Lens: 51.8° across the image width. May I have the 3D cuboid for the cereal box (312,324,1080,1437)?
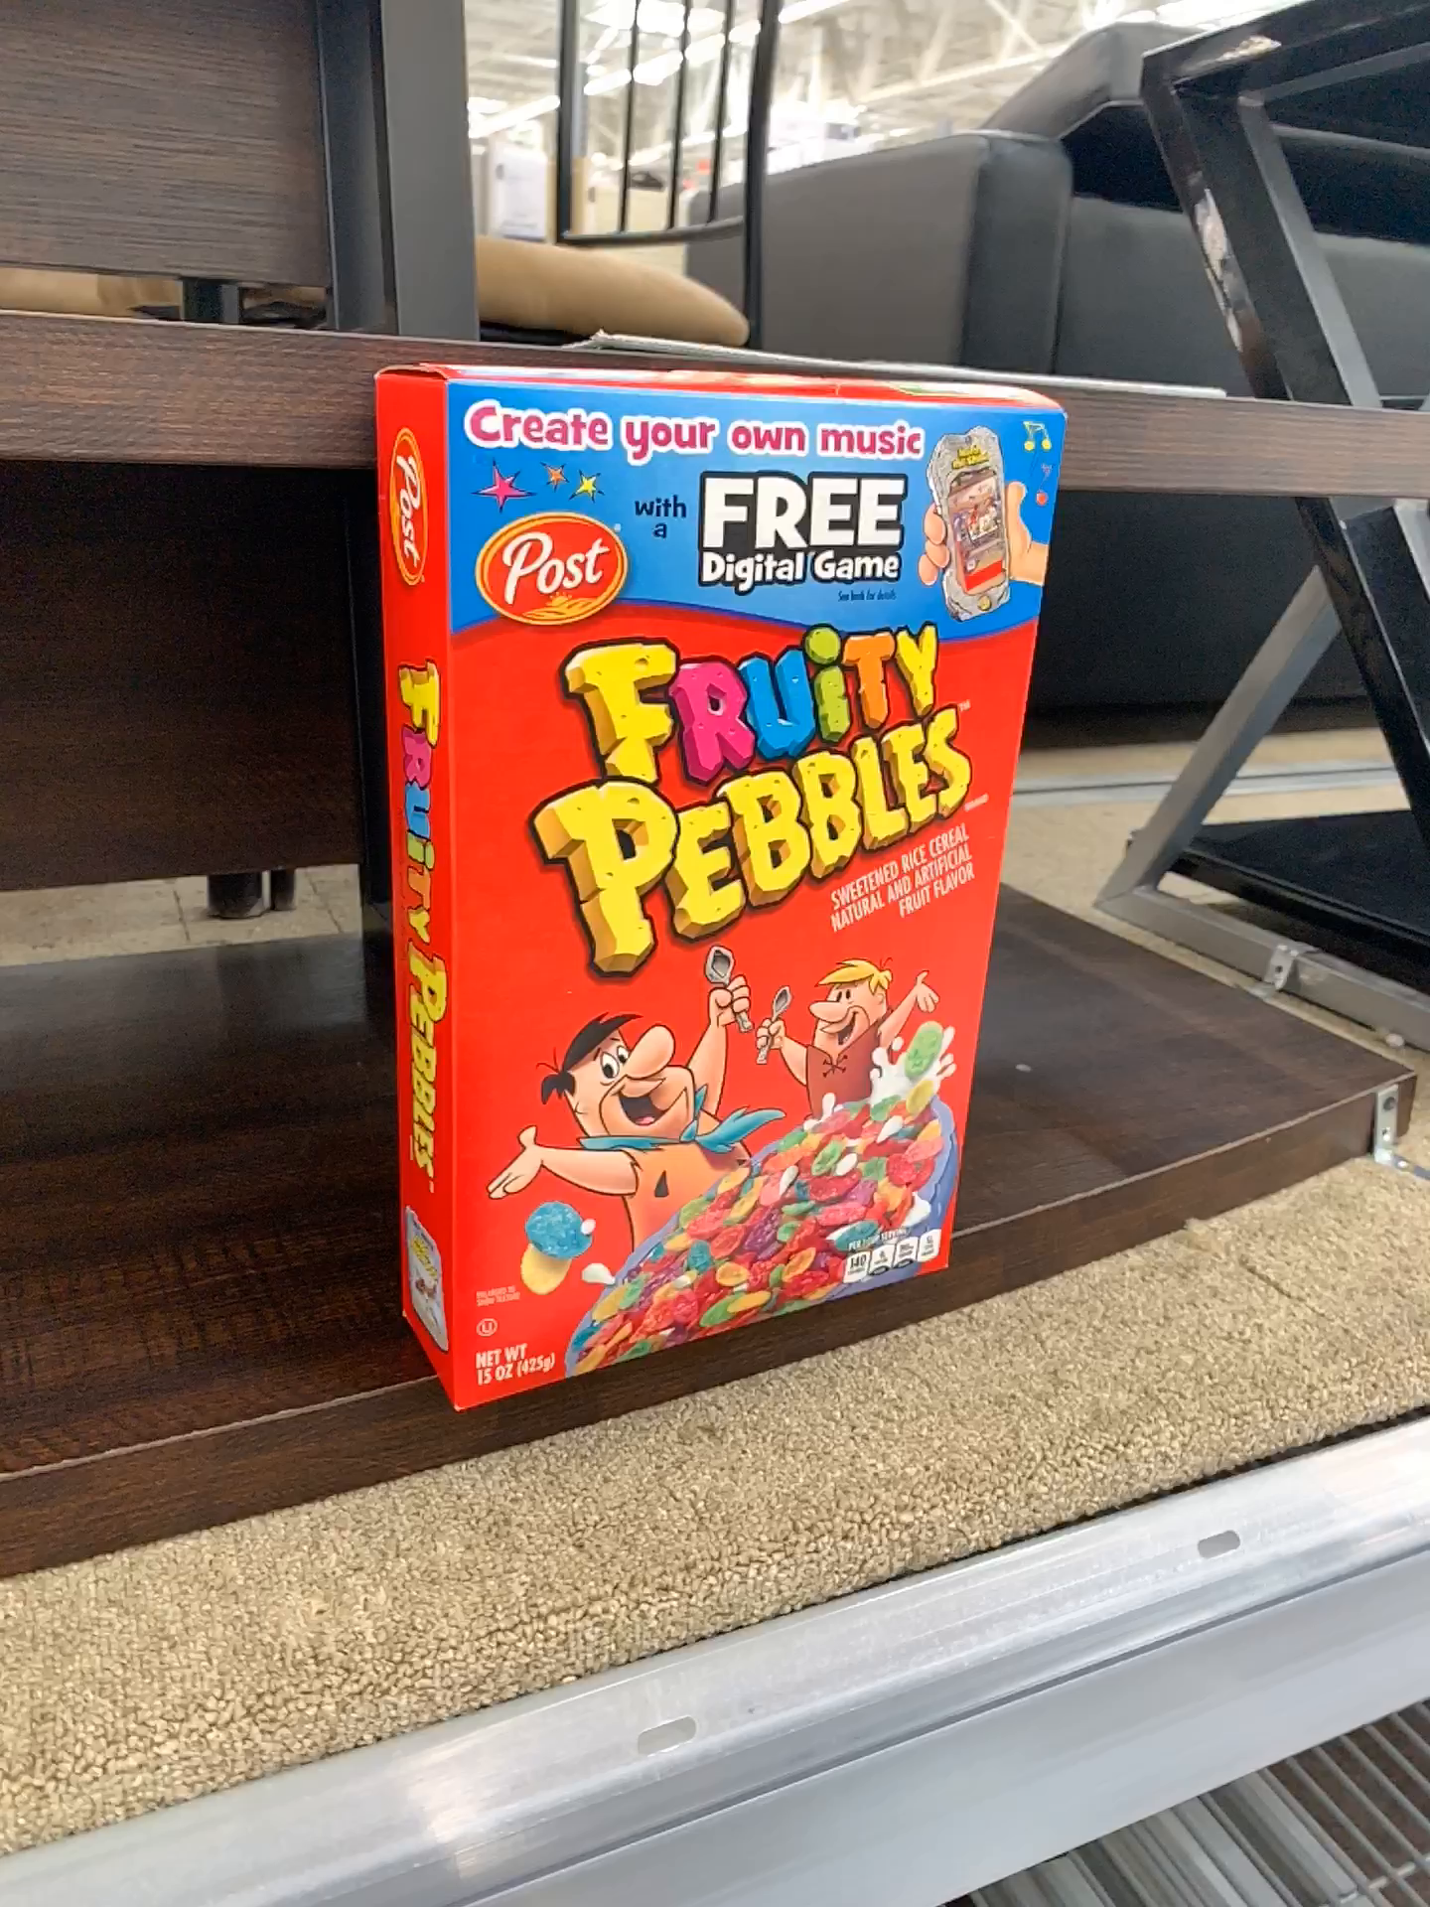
[{"bbox_3d":[-0.008,-0.023,0.462,0.210,0.309,0.060,-8,23,-28],"label":"cereal box"}]
